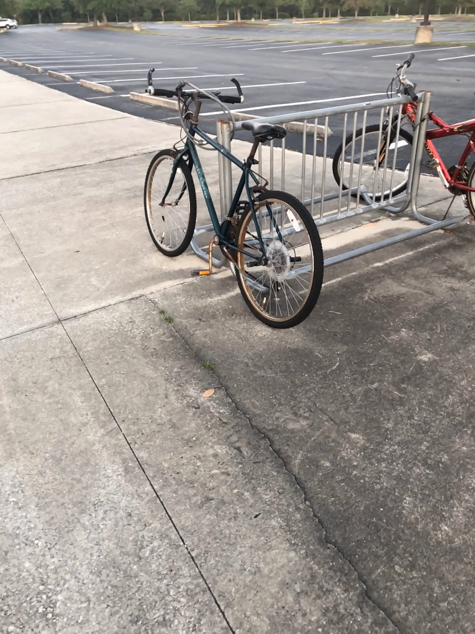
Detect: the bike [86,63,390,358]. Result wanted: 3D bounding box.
[{"bbox_3d":[-0.135,-0.721,2.813,0.584,1.103,1.758,-19,34,-29],"label":"bike"}]
